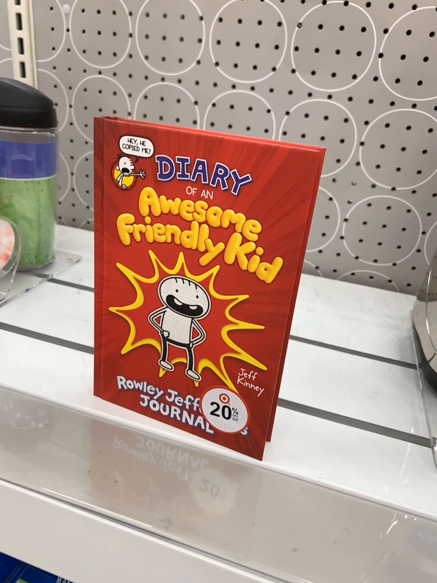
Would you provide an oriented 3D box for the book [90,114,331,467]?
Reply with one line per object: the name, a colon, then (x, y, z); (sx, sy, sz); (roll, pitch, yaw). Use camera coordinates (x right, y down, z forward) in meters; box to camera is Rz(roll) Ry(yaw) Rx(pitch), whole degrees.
book: (-0.018, 0.002, 0.303); (0.140, 0.209, 0.030); (14, 24, 18)
